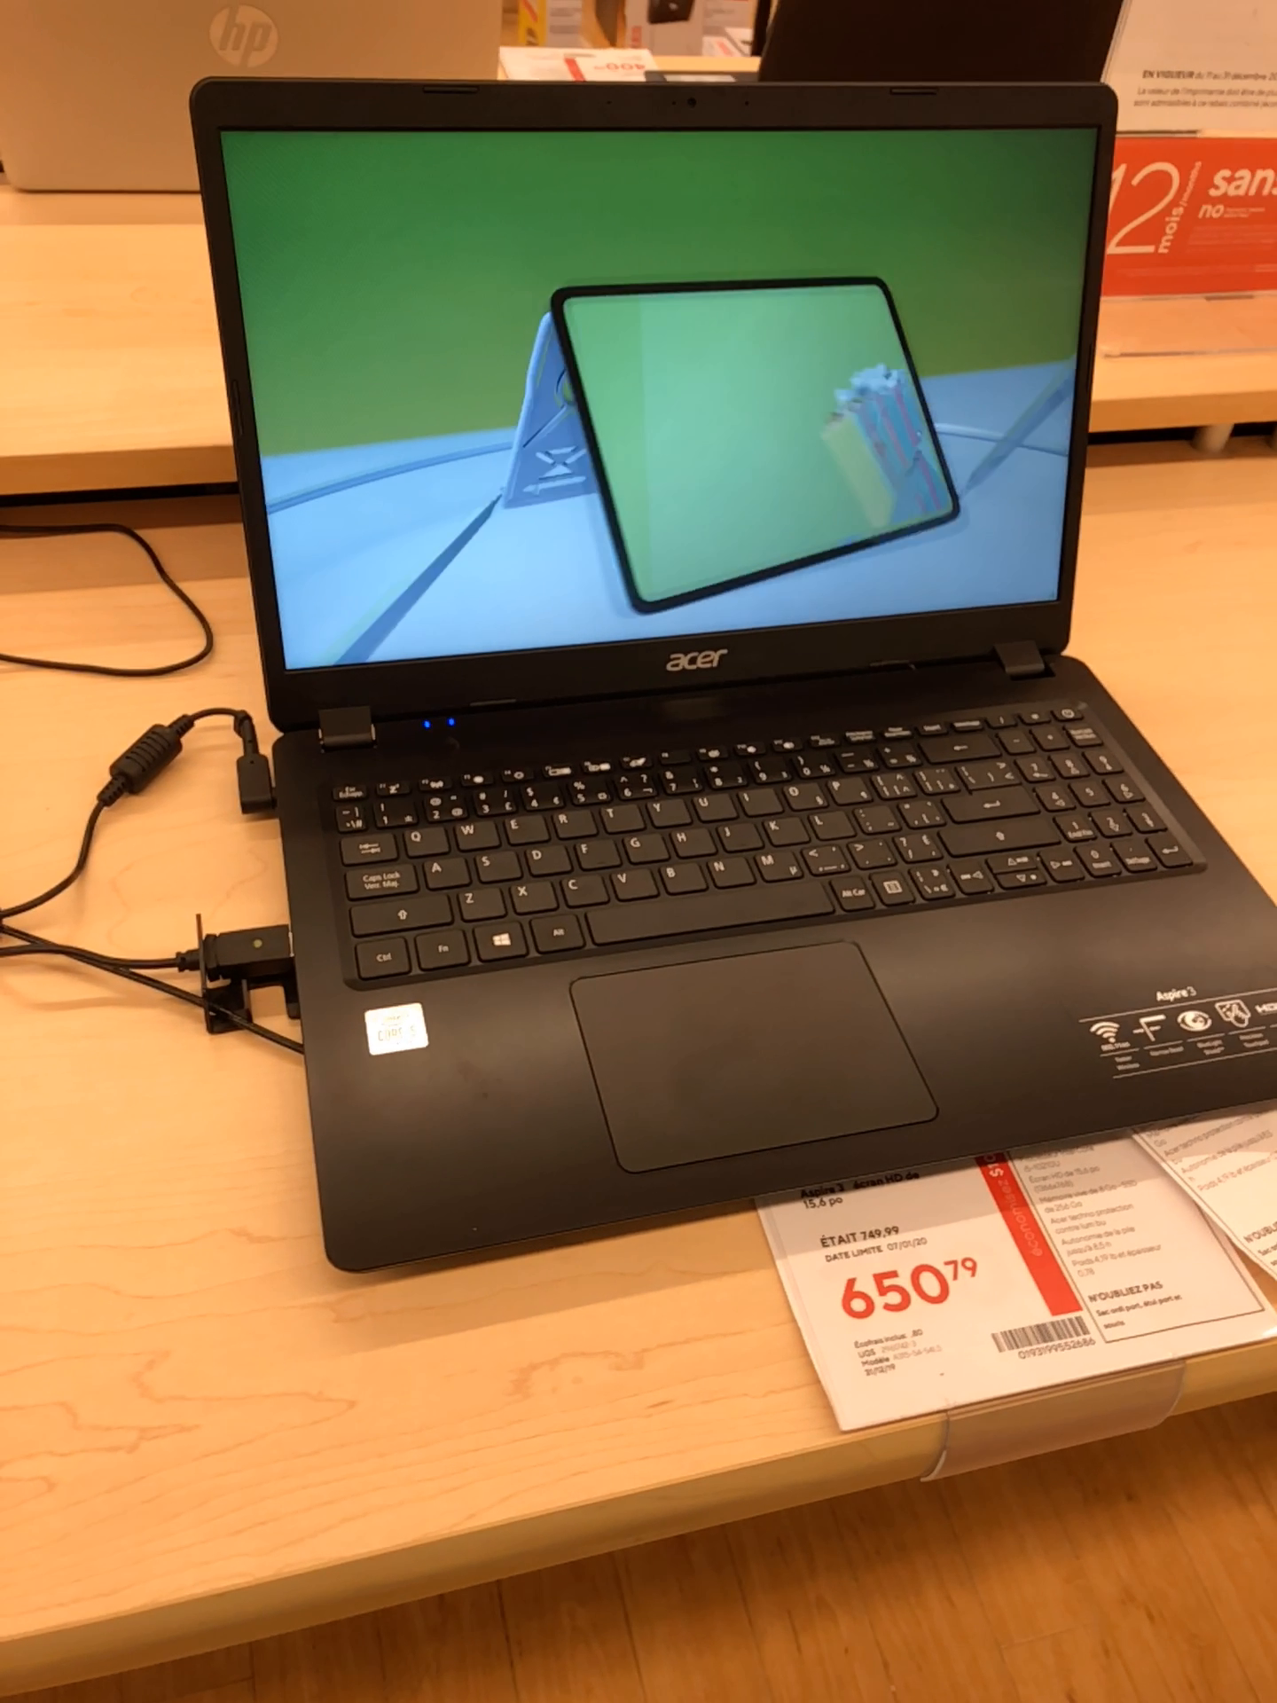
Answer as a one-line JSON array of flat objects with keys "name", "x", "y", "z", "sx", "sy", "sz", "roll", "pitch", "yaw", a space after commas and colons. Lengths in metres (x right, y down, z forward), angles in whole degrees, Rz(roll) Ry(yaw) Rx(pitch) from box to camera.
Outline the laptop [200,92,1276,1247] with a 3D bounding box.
[{"name": "laptop", "x": 0.055, "y": -0.091, "z": 0.481, "sx": 0.354, "sy": 0.210, "sz": 0.328, "roll": -6, "pitch": 45, "yaw": -13}]
